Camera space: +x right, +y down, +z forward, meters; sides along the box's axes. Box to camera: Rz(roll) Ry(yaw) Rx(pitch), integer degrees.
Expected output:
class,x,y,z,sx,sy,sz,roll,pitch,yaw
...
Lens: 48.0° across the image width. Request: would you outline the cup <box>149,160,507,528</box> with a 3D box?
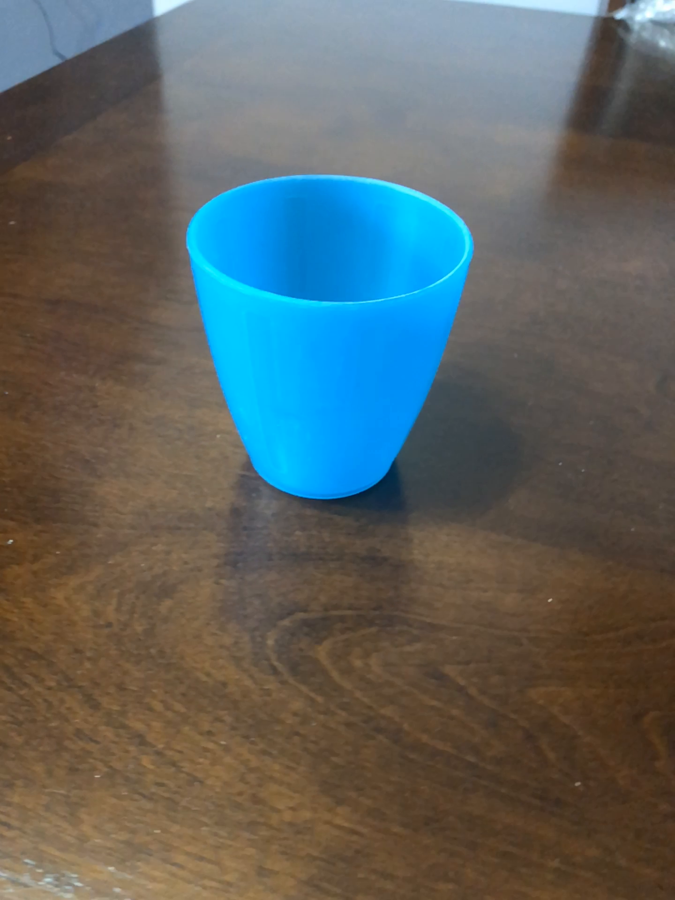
class,x,y,z,sx,sy,sz,roll,pitch,yaw
cup,-0.004,-0.030,0.222,0.080,0.080,0.070,1,42,-3
